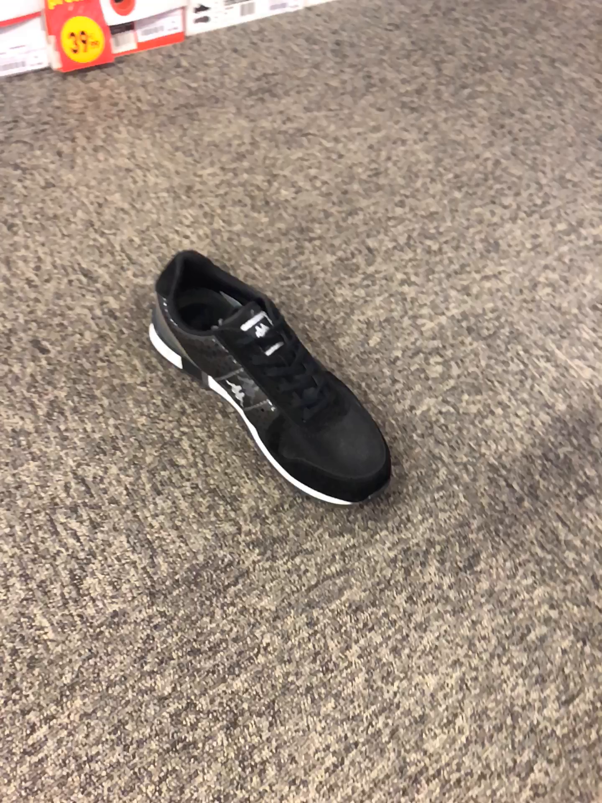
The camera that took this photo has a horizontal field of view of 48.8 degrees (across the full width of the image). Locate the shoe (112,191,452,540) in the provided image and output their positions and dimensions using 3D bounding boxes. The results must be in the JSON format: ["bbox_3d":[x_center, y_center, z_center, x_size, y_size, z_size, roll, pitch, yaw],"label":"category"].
[{"bbox_3d":[-0.025,-0.034,0.541,0.101,0.089,0.274,-37,74,-28],"label":"shoe"}]
